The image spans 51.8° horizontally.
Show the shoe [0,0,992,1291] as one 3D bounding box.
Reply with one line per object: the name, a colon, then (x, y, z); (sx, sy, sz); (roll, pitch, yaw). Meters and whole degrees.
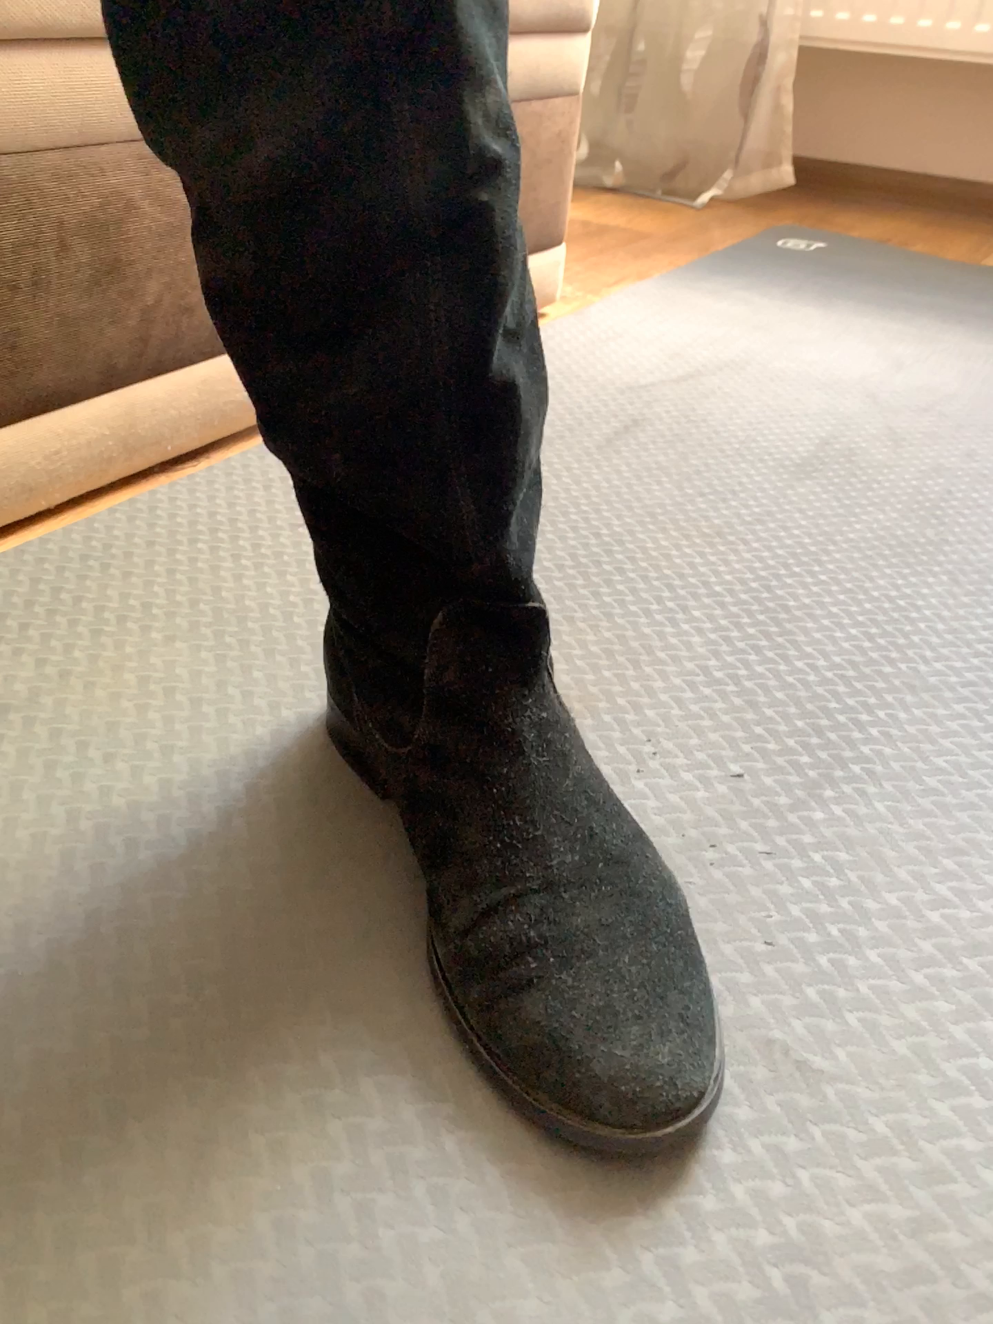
shoe: (-0.030, -0.103, 0.290); (0.130, 0.378, 0.321); (-15, 35, -22)
